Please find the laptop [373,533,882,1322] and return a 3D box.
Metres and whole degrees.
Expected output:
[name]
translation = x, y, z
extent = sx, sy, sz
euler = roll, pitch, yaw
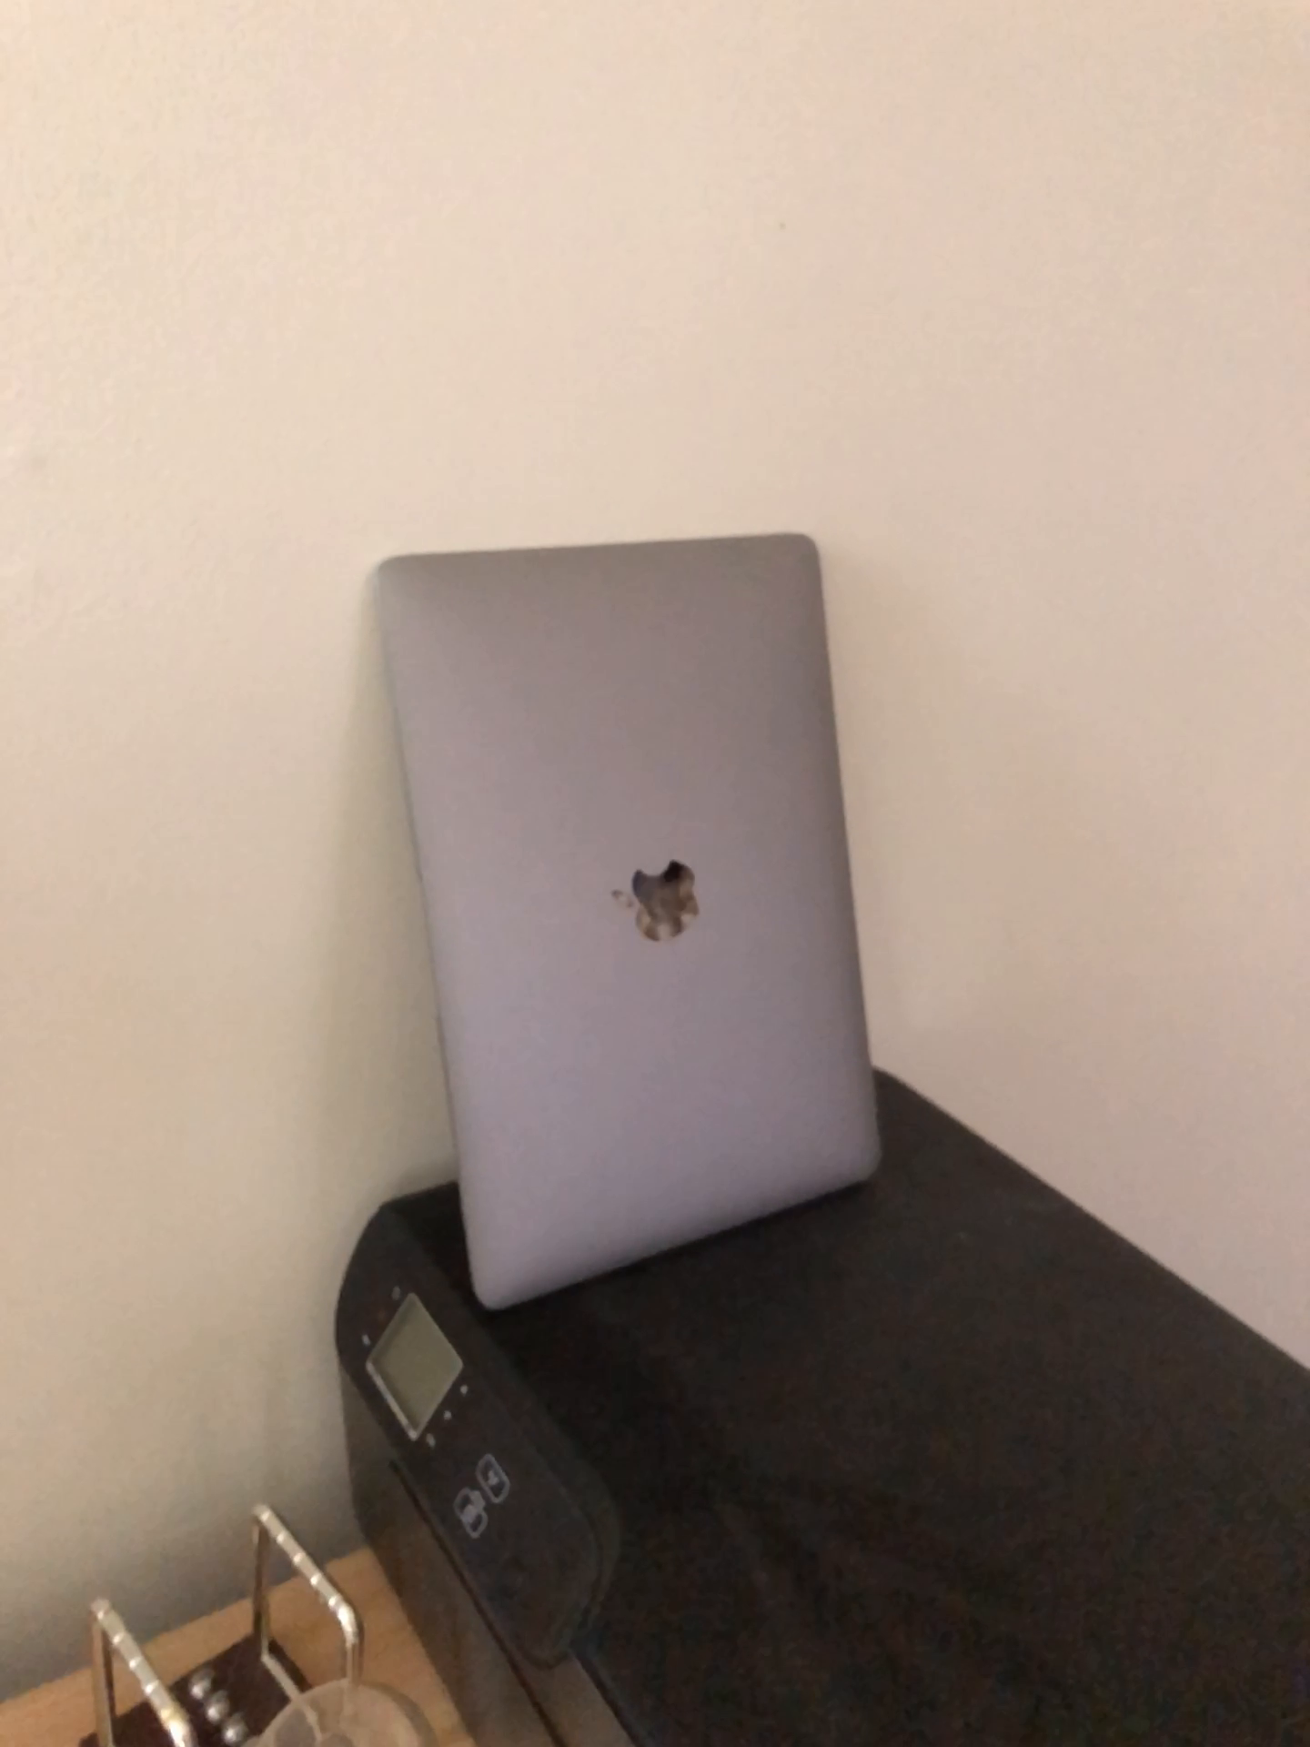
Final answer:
[laptop]
translation = 0.000, 0.011, 0.578
extent = 0.196, 0.275, 0.002
euler = -11, 7, -31
